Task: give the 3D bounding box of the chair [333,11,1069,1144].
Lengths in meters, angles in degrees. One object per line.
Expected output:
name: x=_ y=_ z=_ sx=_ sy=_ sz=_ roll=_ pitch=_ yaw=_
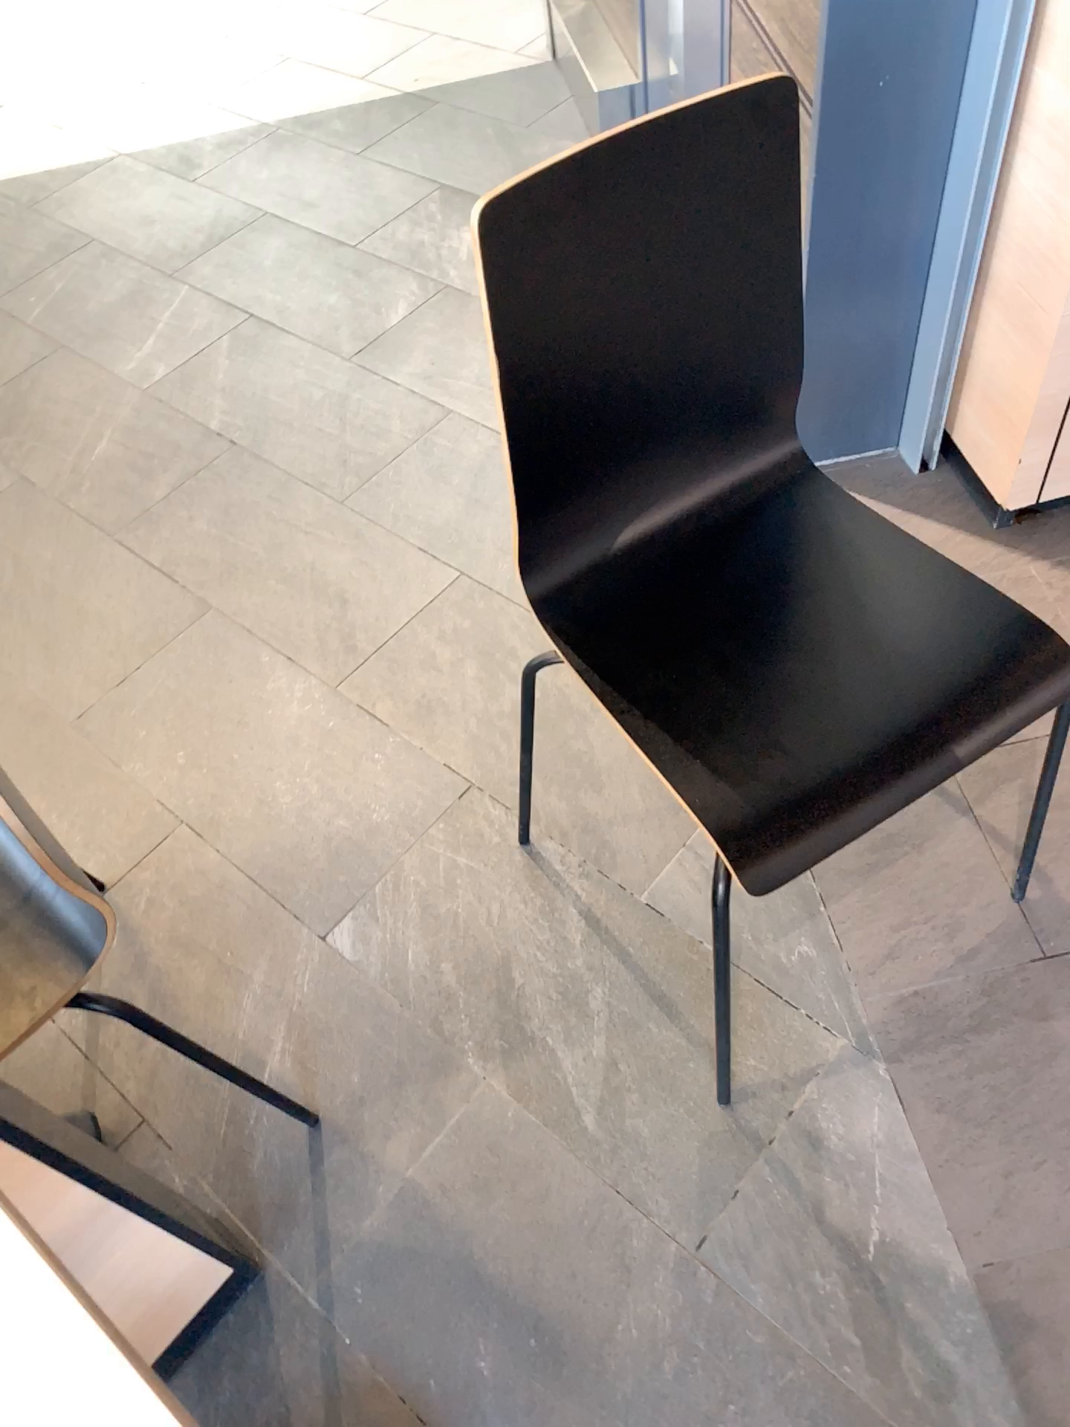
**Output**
chair: x=0.250 y=-0.068 z=1.068 sx=0.520 sy=0.837 sz=0.521 roll=-29 pitch=55 yaw=-13
